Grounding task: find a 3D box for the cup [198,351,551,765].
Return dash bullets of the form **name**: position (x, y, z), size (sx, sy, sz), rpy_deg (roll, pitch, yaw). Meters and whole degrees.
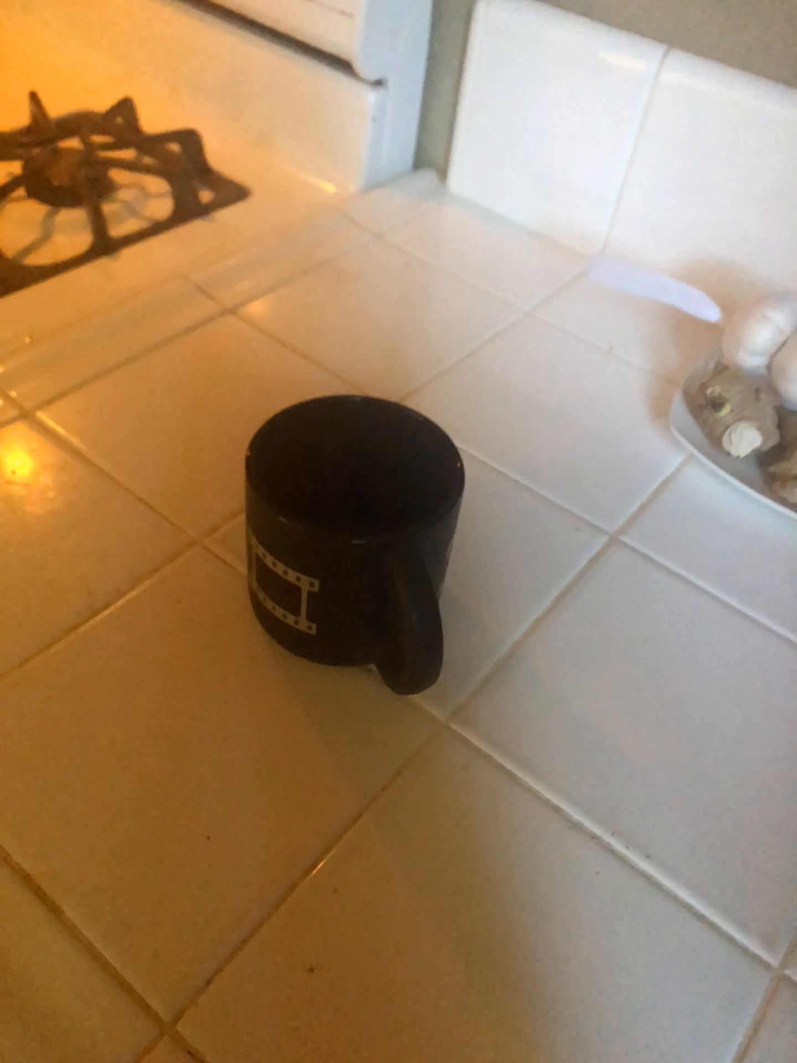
- **cup**: position (-0.018, 0.006, 0.376), size (0.090, 0.089, 0.131), rpy_deg (-16, 51, -22)
